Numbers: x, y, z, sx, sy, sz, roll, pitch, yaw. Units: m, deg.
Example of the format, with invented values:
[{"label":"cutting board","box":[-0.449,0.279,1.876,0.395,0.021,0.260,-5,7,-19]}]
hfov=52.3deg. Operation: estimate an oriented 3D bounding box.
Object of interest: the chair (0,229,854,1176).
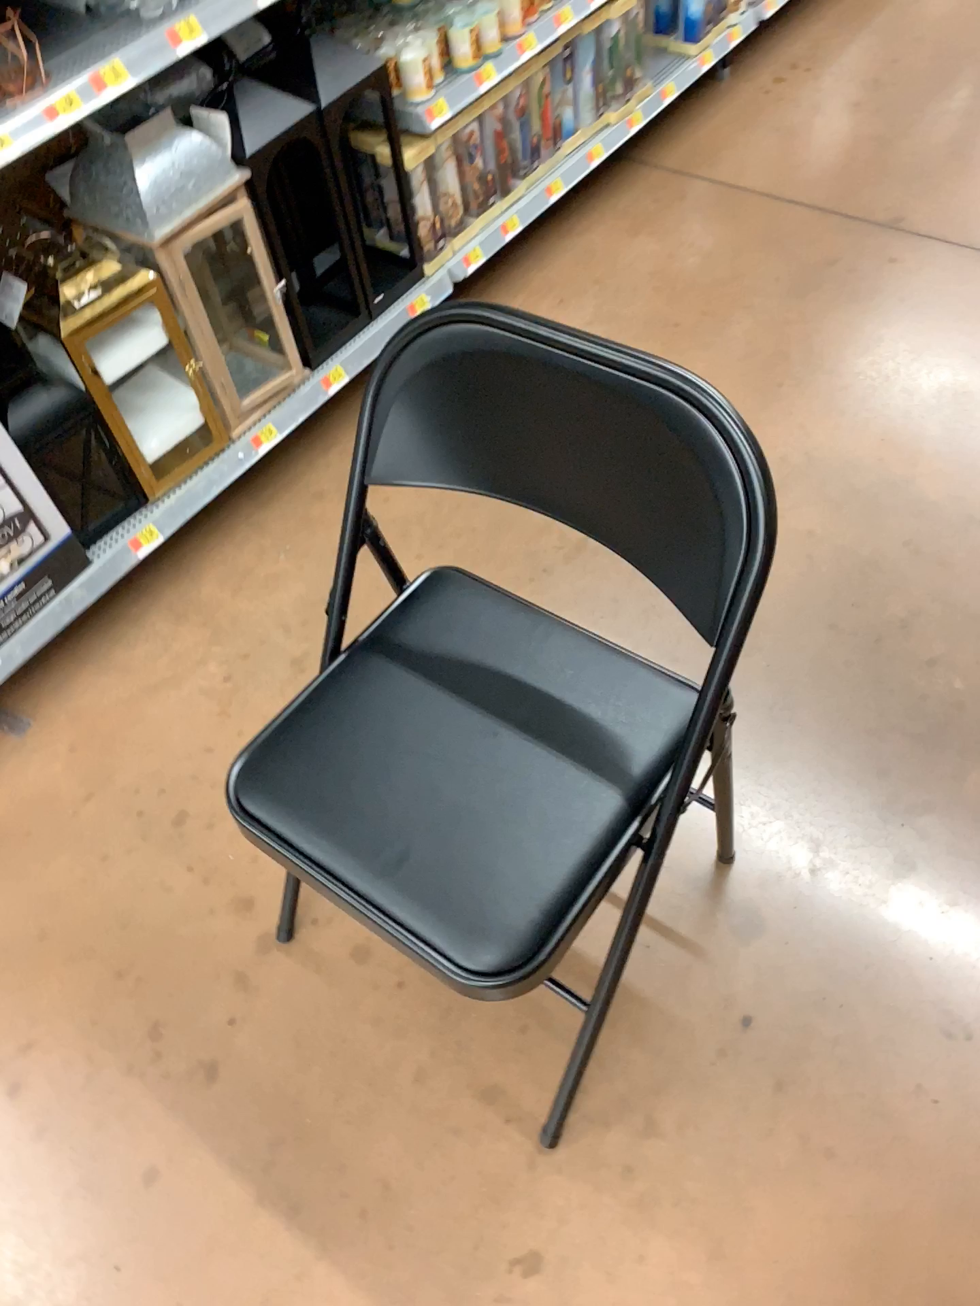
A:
[{"label":"chair","box":[-0.033,0.085,0.975,0.471,0.698,0.471,28,62,25]}]
